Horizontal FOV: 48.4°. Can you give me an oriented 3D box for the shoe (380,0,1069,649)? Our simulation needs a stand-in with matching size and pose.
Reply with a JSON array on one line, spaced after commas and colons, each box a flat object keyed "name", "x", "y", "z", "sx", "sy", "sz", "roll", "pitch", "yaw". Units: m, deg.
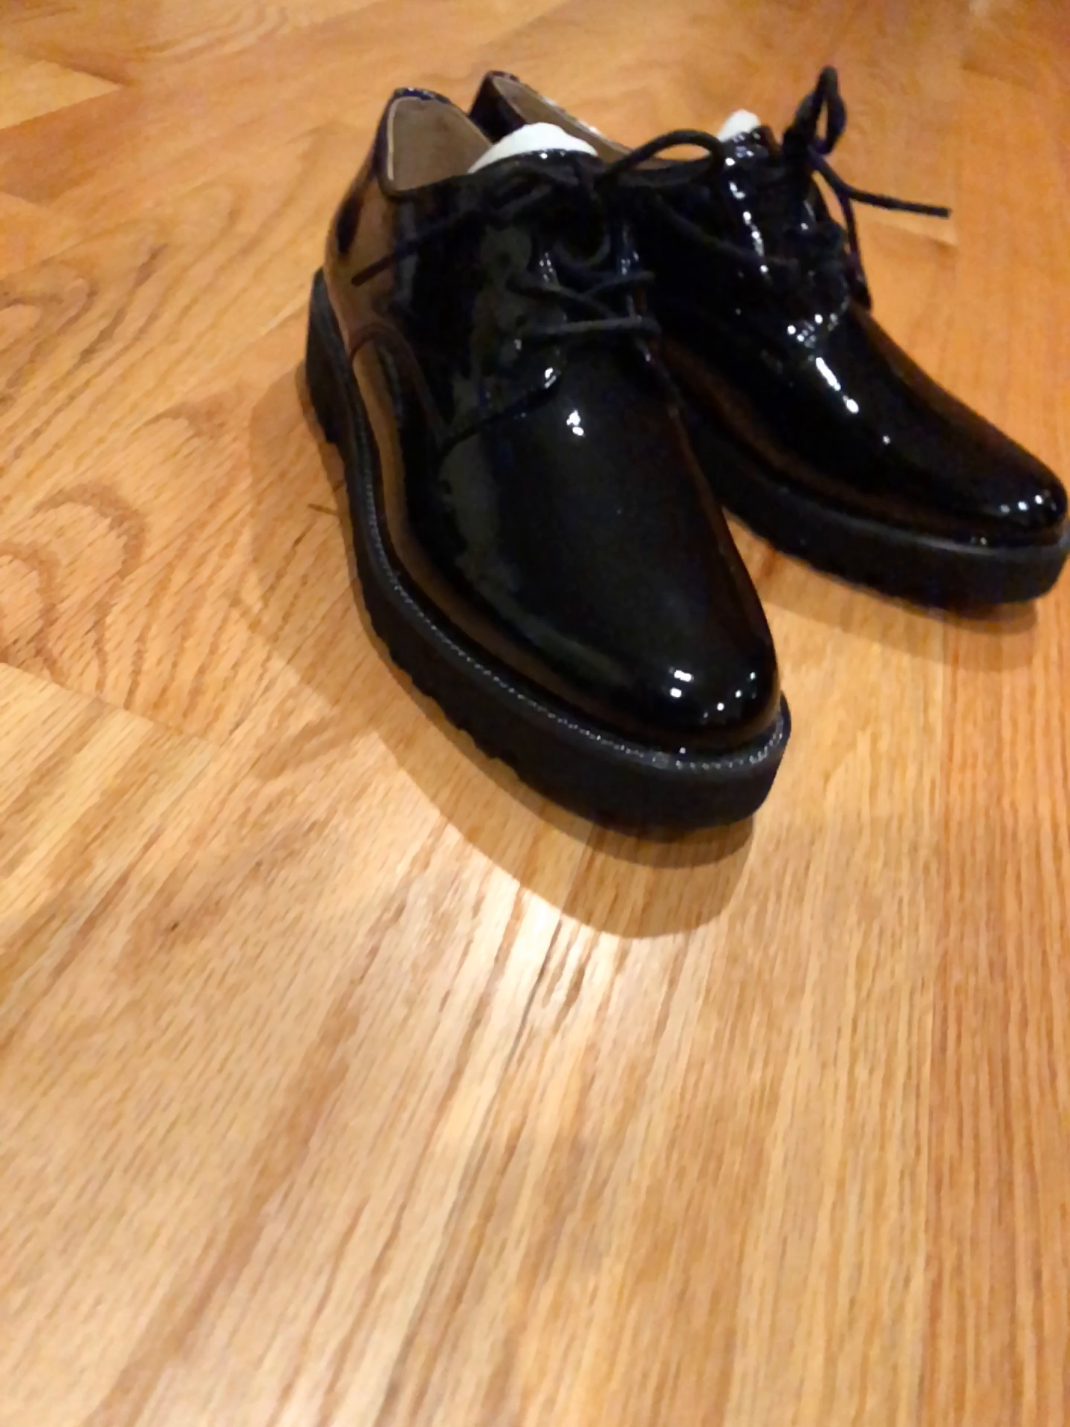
[{"name": "shoe", "x": 0.080, "y": -0.144, "z": 0.393, "sx": 0.251, "sy": 0.101, "sz": 0.096, "roll": 34, "pitch": 44, "yaw": 20}]

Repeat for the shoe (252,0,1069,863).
[{"name": "shoe", "x": 0.002, "y": -0.097, "z": 0.310, "sx": 0.095, "sy": 0.101, "sz": 0.252, "roll": -6, "pitch": 45, "yaw": -24}]
